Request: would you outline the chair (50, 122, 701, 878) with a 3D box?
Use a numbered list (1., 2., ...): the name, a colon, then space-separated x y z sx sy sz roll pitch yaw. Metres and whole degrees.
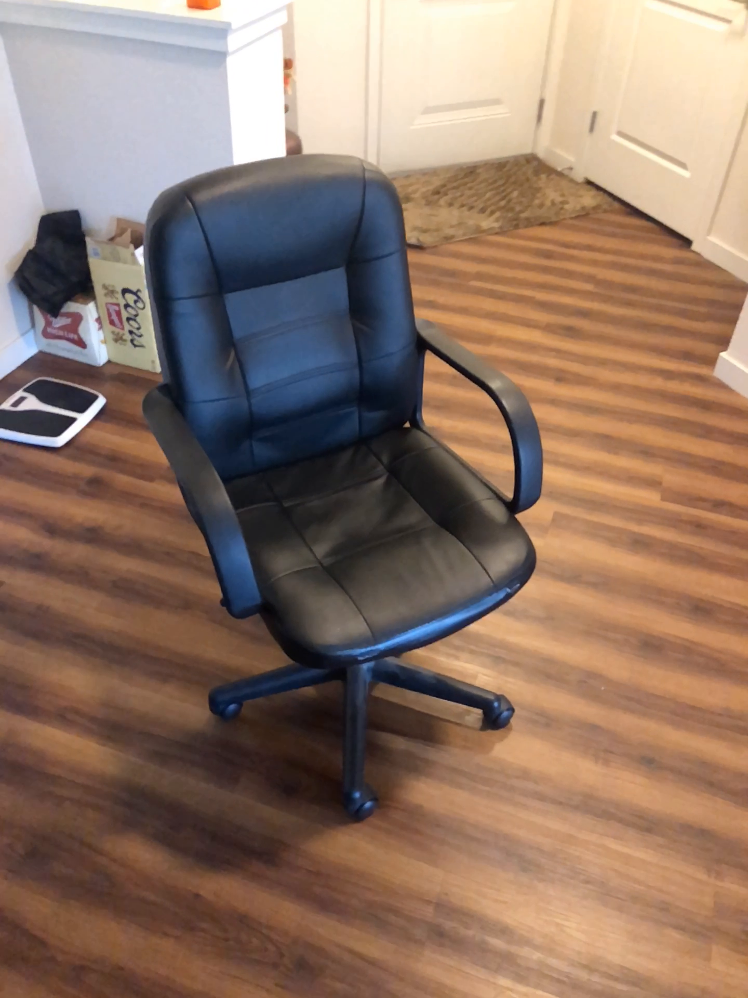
1. chair: -0.046 -0.006 1.477 0.663 1.012 0.669 -20 45 -23
